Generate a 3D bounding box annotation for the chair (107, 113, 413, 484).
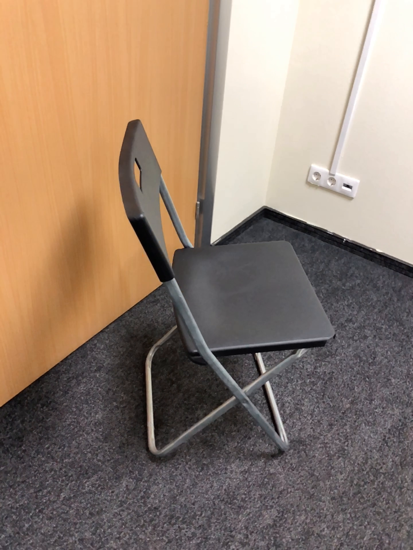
[{"bbox_3d":[0.038,0.061,1.086,0.480,0.725,0.483,-2,38,-9],"label":"chair"}]
